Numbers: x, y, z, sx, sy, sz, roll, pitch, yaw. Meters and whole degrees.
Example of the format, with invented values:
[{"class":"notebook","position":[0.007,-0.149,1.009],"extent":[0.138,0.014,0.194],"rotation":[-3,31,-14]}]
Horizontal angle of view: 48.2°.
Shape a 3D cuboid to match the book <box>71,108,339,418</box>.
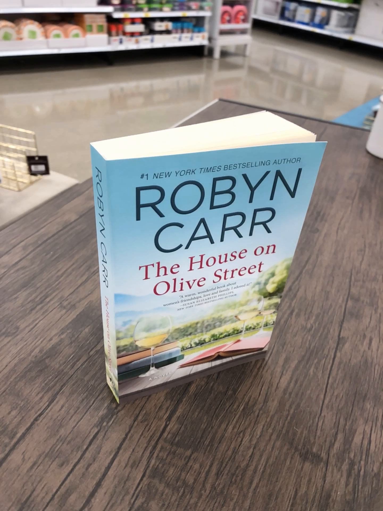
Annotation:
[{"class":"book","position":[0.005,0.009,0.299],"extent":[0.146,0.195,0.050],"rotation":[-14,40,-24]}]
